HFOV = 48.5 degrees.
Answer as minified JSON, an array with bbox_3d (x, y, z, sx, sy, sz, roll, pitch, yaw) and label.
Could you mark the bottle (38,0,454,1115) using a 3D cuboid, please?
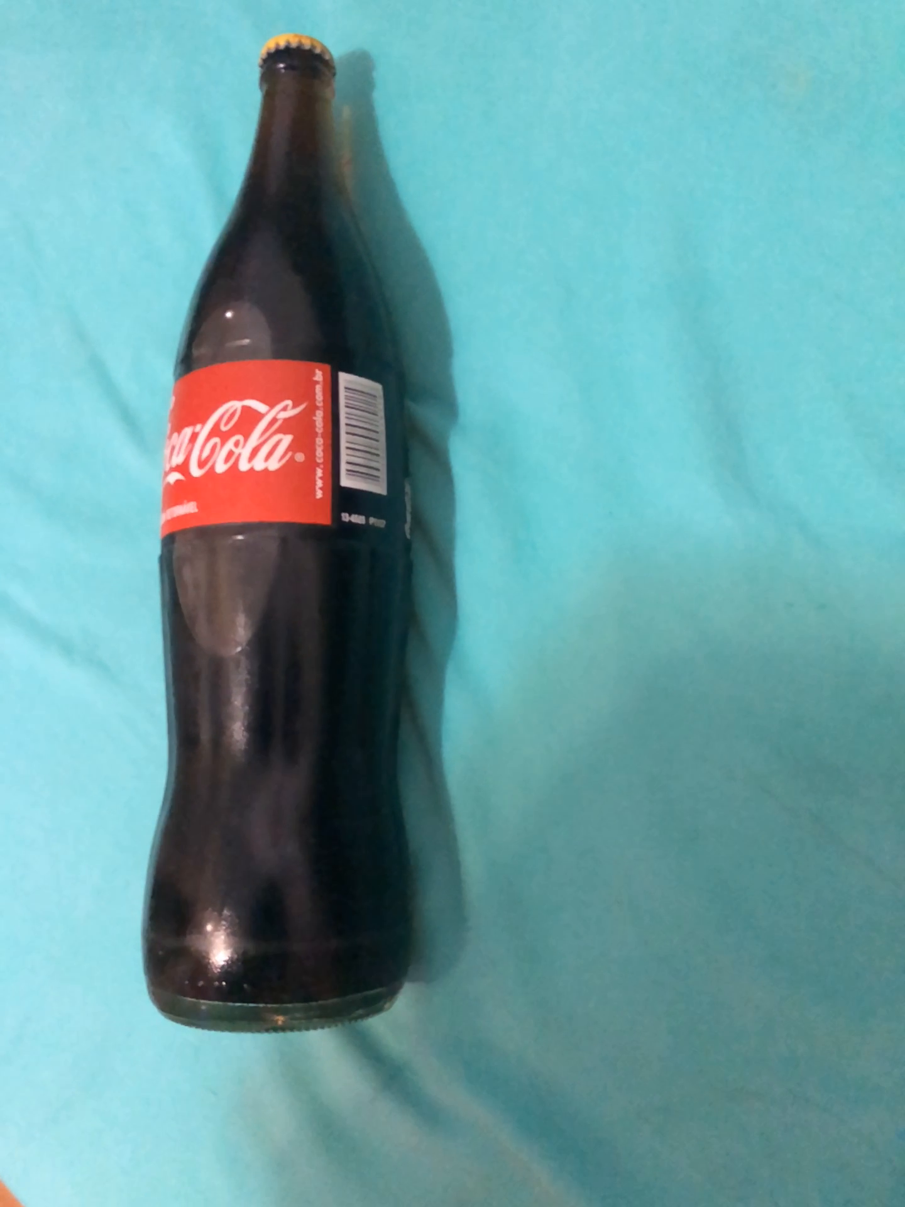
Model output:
[{"bbox_3d":[-0.060,-0.042,0.332,0.100,0.070,0.360,-4,80,24],"label":"bottle"}]
